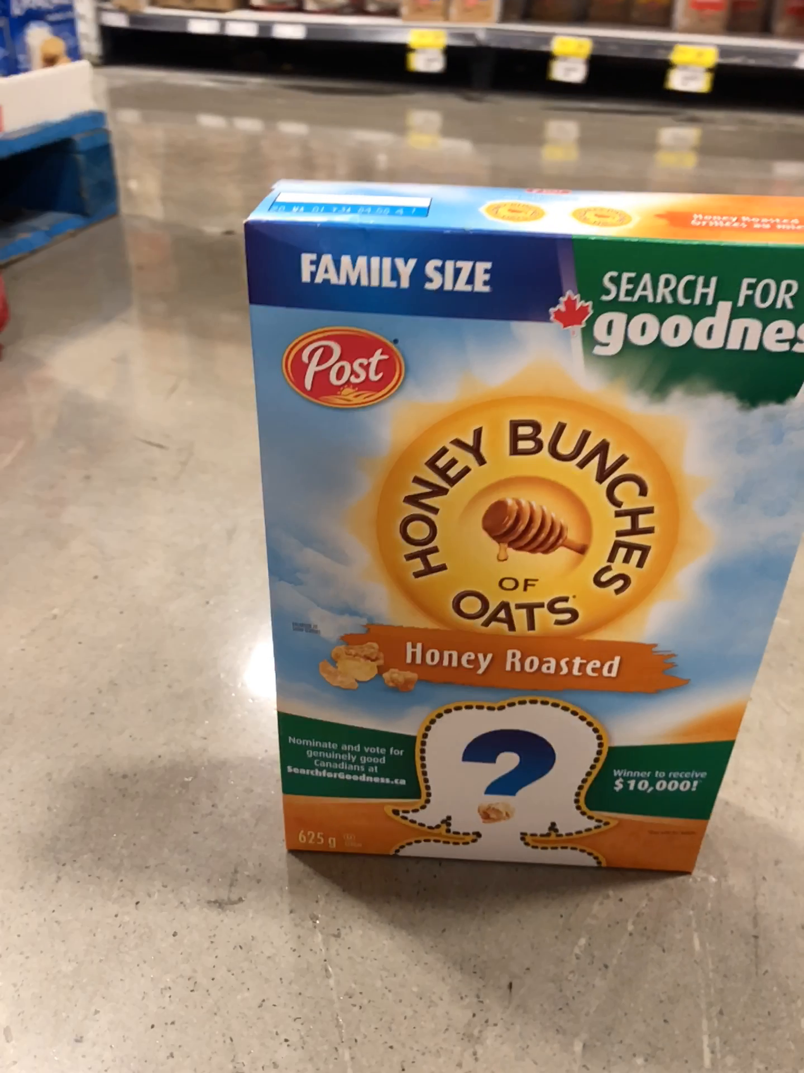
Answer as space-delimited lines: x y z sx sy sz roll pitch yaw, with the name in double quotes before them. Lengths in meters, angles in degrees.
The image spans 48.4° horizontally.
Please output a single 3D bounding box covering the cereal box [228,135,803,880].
"cereal box" 0.053 0.010 0.372 0.210 0.309 0.070 3 34 2
